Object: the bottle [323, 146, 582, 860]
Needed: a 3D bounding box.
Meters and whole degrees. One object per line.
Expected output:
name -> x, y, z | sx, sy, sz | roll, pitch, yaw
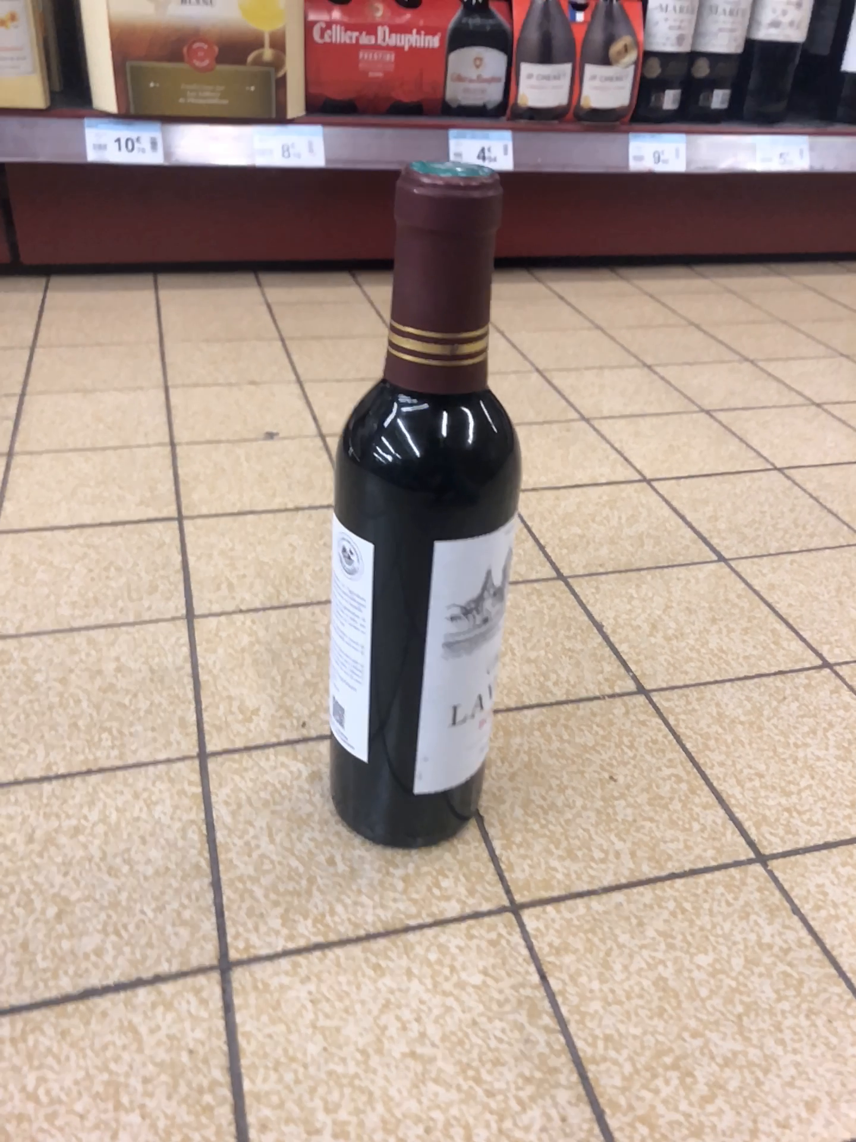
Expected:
bottle -> 0.000, -0.012, 0.305 | 0.060, 0.219, 0.070 | 3, 31, -1
